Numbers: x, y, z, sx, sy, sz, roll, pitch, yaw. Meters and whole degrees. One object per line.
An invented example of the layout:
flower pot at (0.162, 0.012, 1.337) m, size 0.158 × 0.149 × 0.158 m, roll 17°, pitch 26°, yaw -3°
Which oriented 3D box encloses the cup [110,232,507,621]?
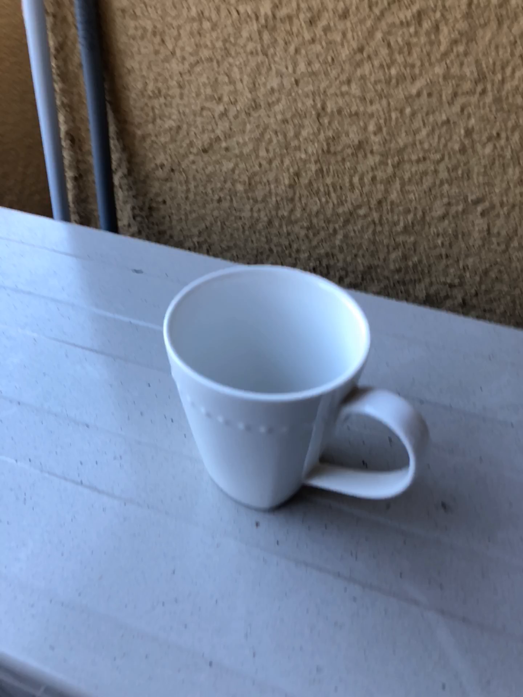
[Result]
cup at (0.020, 0.030, 0.281) m, size 0.140 × 0.100 × 0.100 m, roll 24°, pitch 45°, yaw 20°
